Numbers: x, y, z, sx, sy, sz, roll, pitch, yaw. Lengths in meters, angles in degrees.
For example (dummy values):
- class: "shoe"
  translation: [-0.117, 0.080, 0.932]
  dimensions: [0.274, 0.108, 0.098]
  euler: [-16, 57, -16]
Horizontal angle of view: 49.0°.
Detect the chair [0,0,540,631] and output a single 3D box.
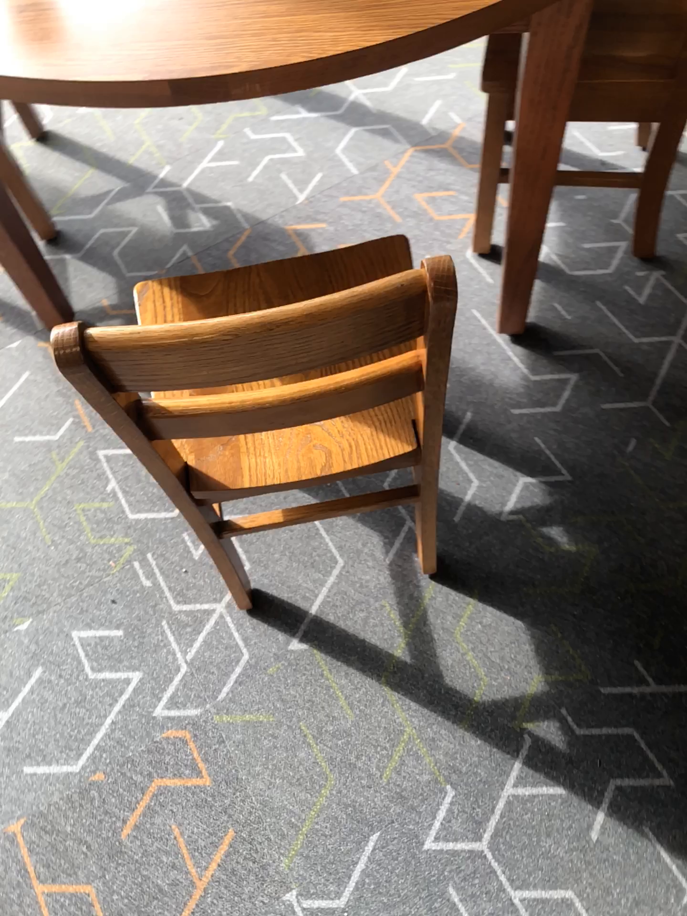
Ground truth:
- class: "chair"
  translation: [-0.059, -0.109, 0.884]
  dimensions: [0.370, 0.667, 0.392]
  euler: [-12, 63, -1]
